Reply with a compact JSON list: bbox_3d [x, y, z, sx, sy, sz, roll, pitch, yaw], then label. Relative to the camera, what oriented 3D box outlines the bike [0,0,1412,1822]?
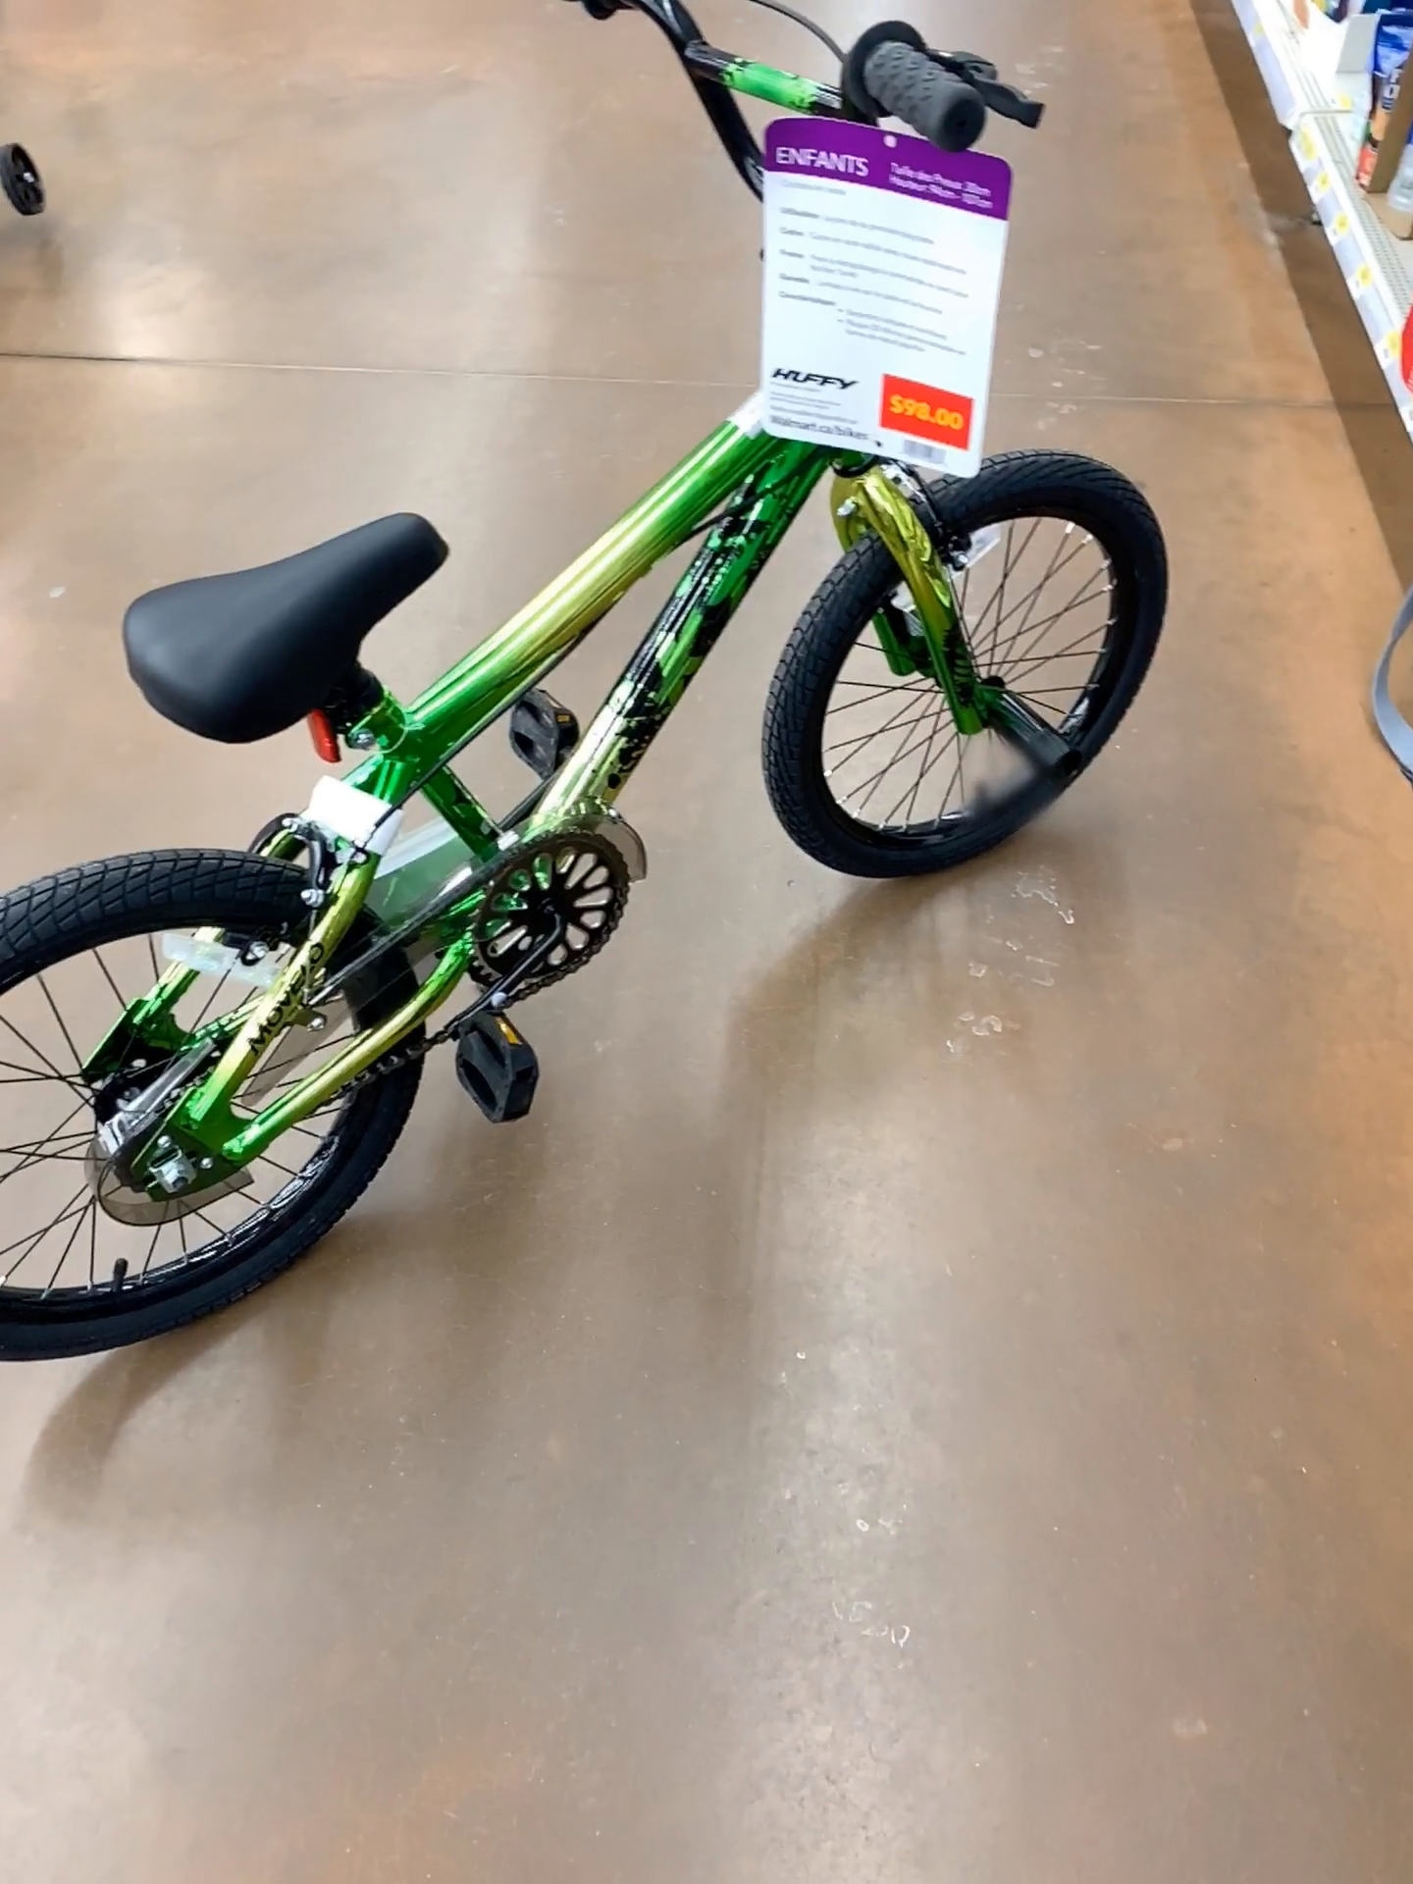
[{"bbox_3d":[0.008,-0.200,1.091,1.407,1.034,0.719,-31,54,-16],"label":"bike"}]
